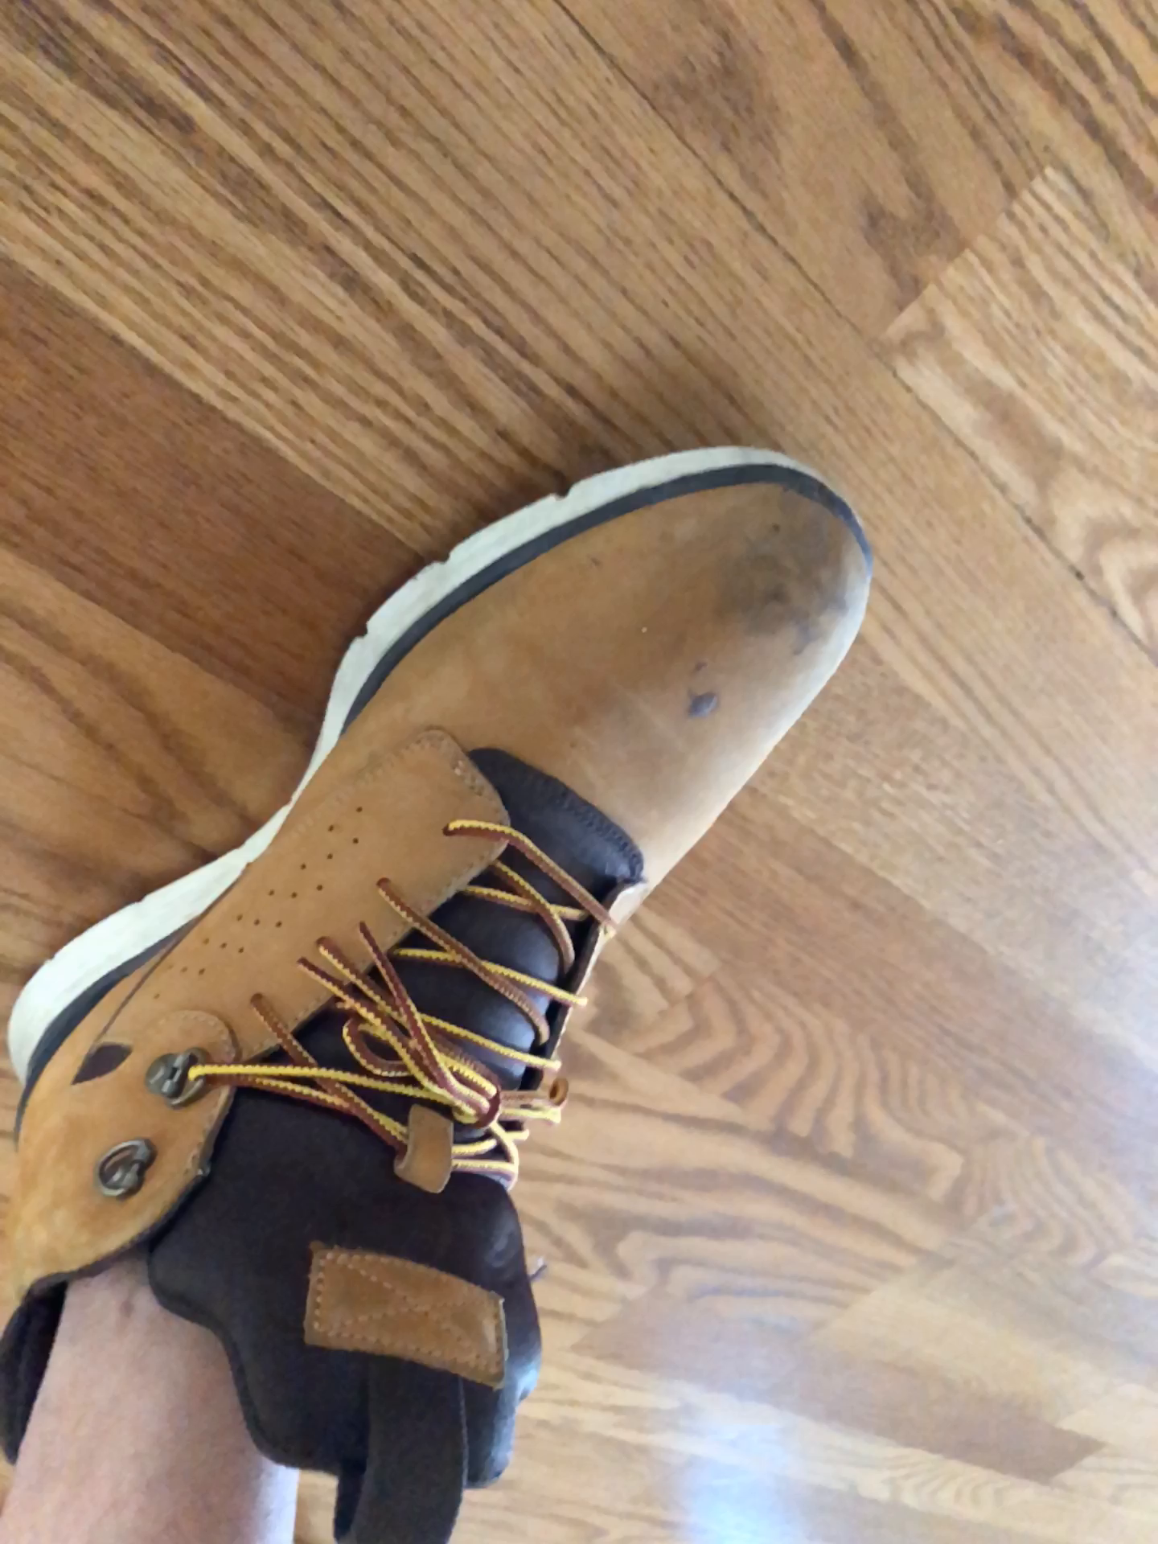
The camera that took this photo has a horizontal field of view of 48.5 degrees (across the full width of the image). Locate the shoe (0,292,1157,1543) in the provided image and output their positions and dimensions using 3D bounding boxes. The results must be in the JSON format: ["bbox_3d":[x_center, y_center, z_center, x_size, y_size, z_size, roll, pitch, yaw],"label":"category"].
[{"bbox_3d":[-0.033,0.064,0.312,0.310,0.169,0.120,-44,126,12],"label":"shoe"}]
